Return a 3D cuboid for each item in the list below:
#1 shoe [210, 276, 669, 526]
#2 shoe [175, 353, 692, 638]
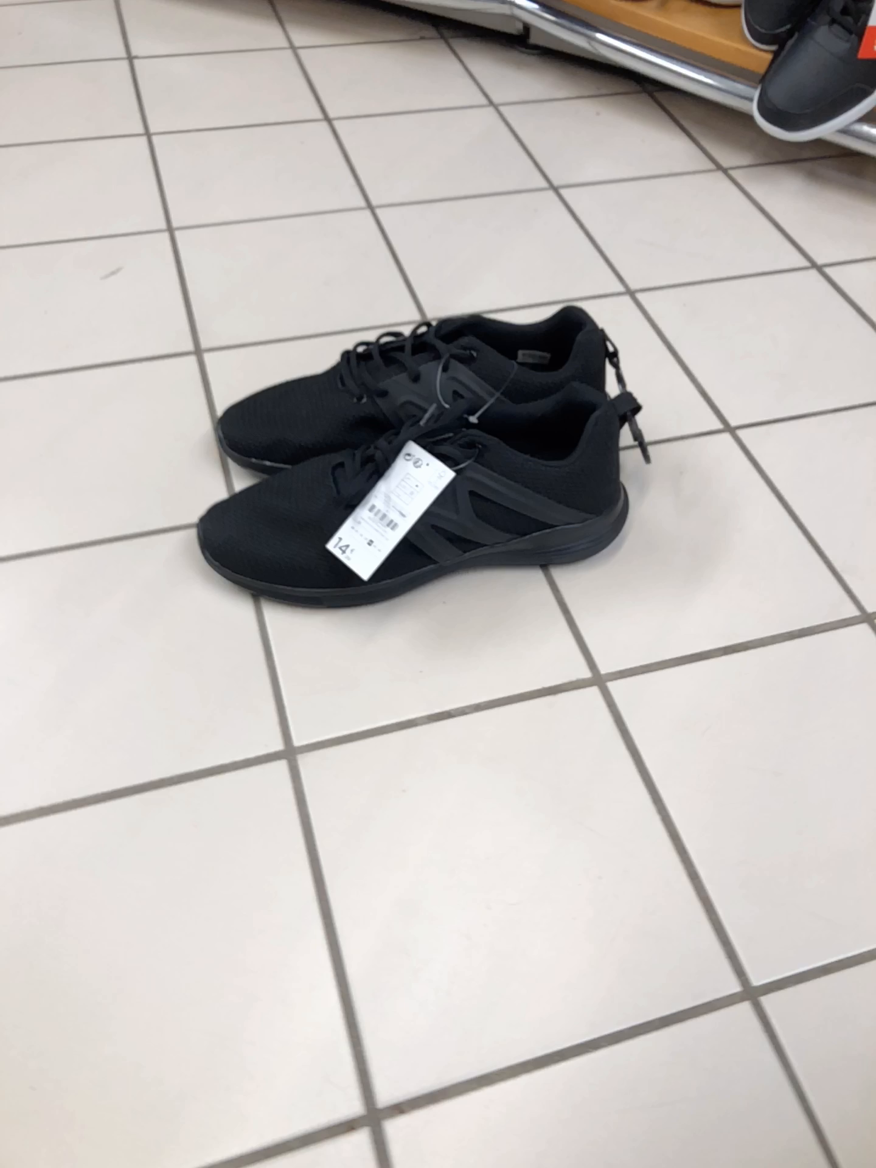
[{"bbox_3d":[-0.001,-0.140,0.726,0.310,0.109,0.100,-9,51,-11],"label":"shoe"},{"bbox_3d":[-0.005,-0.062,0.649,0.310,0.109,0.100,-9,51,-11],"label":"shoe"}]
